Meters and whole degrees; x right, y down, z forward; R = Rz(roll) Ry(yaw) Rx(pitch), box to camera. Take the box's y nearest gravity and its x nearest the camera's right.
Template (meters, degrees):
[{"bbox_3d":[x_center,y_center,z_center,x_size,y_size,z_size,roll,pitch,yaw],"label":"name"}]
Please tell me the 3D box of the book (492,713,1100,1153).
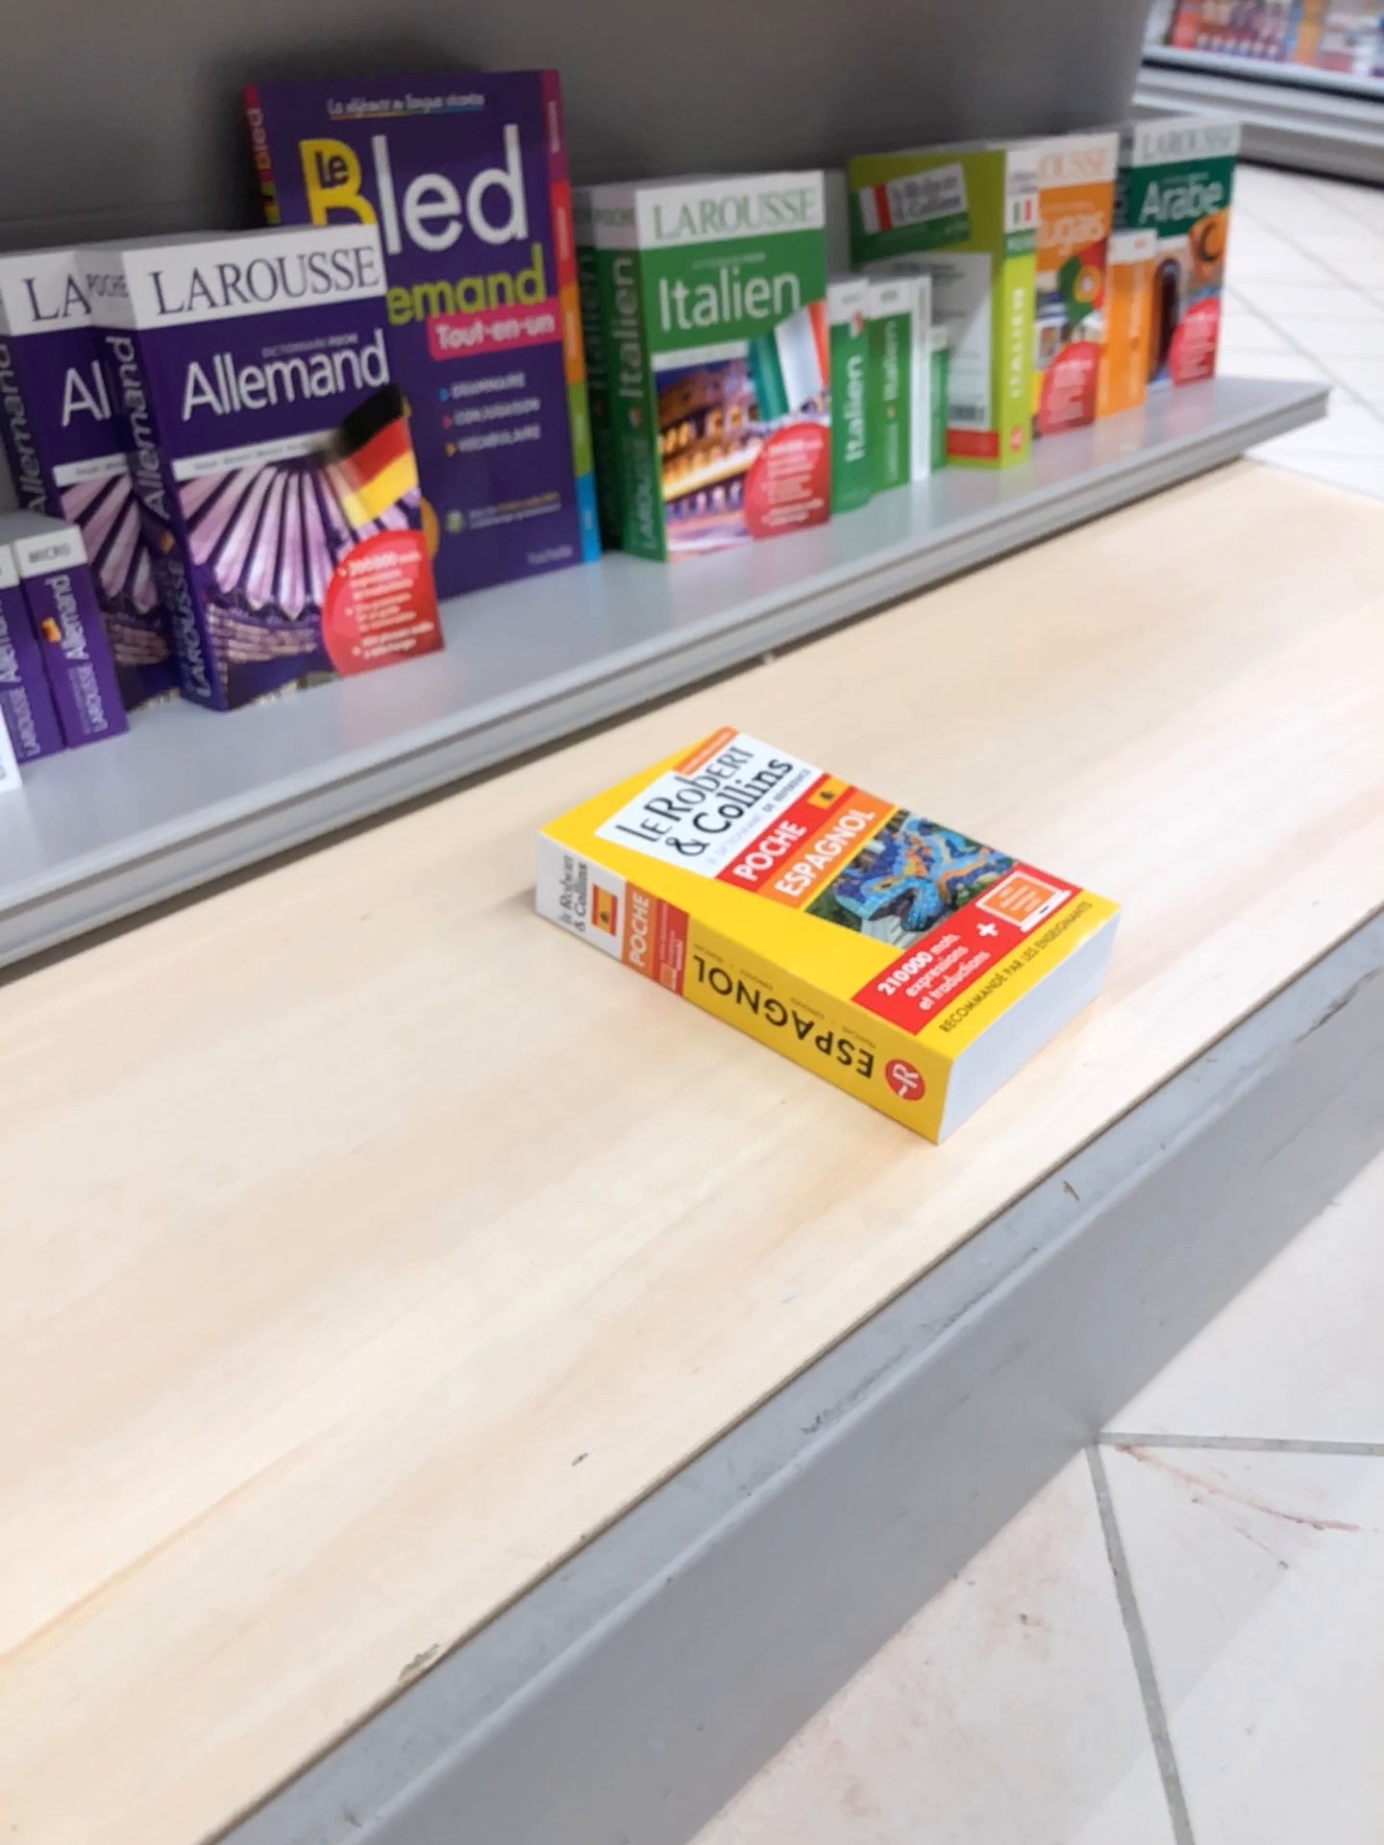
[{"bbox_3d":[0.033,-0.006,0.539,0.180,0.040,0.111,29,42,29],"label":"book"}]
